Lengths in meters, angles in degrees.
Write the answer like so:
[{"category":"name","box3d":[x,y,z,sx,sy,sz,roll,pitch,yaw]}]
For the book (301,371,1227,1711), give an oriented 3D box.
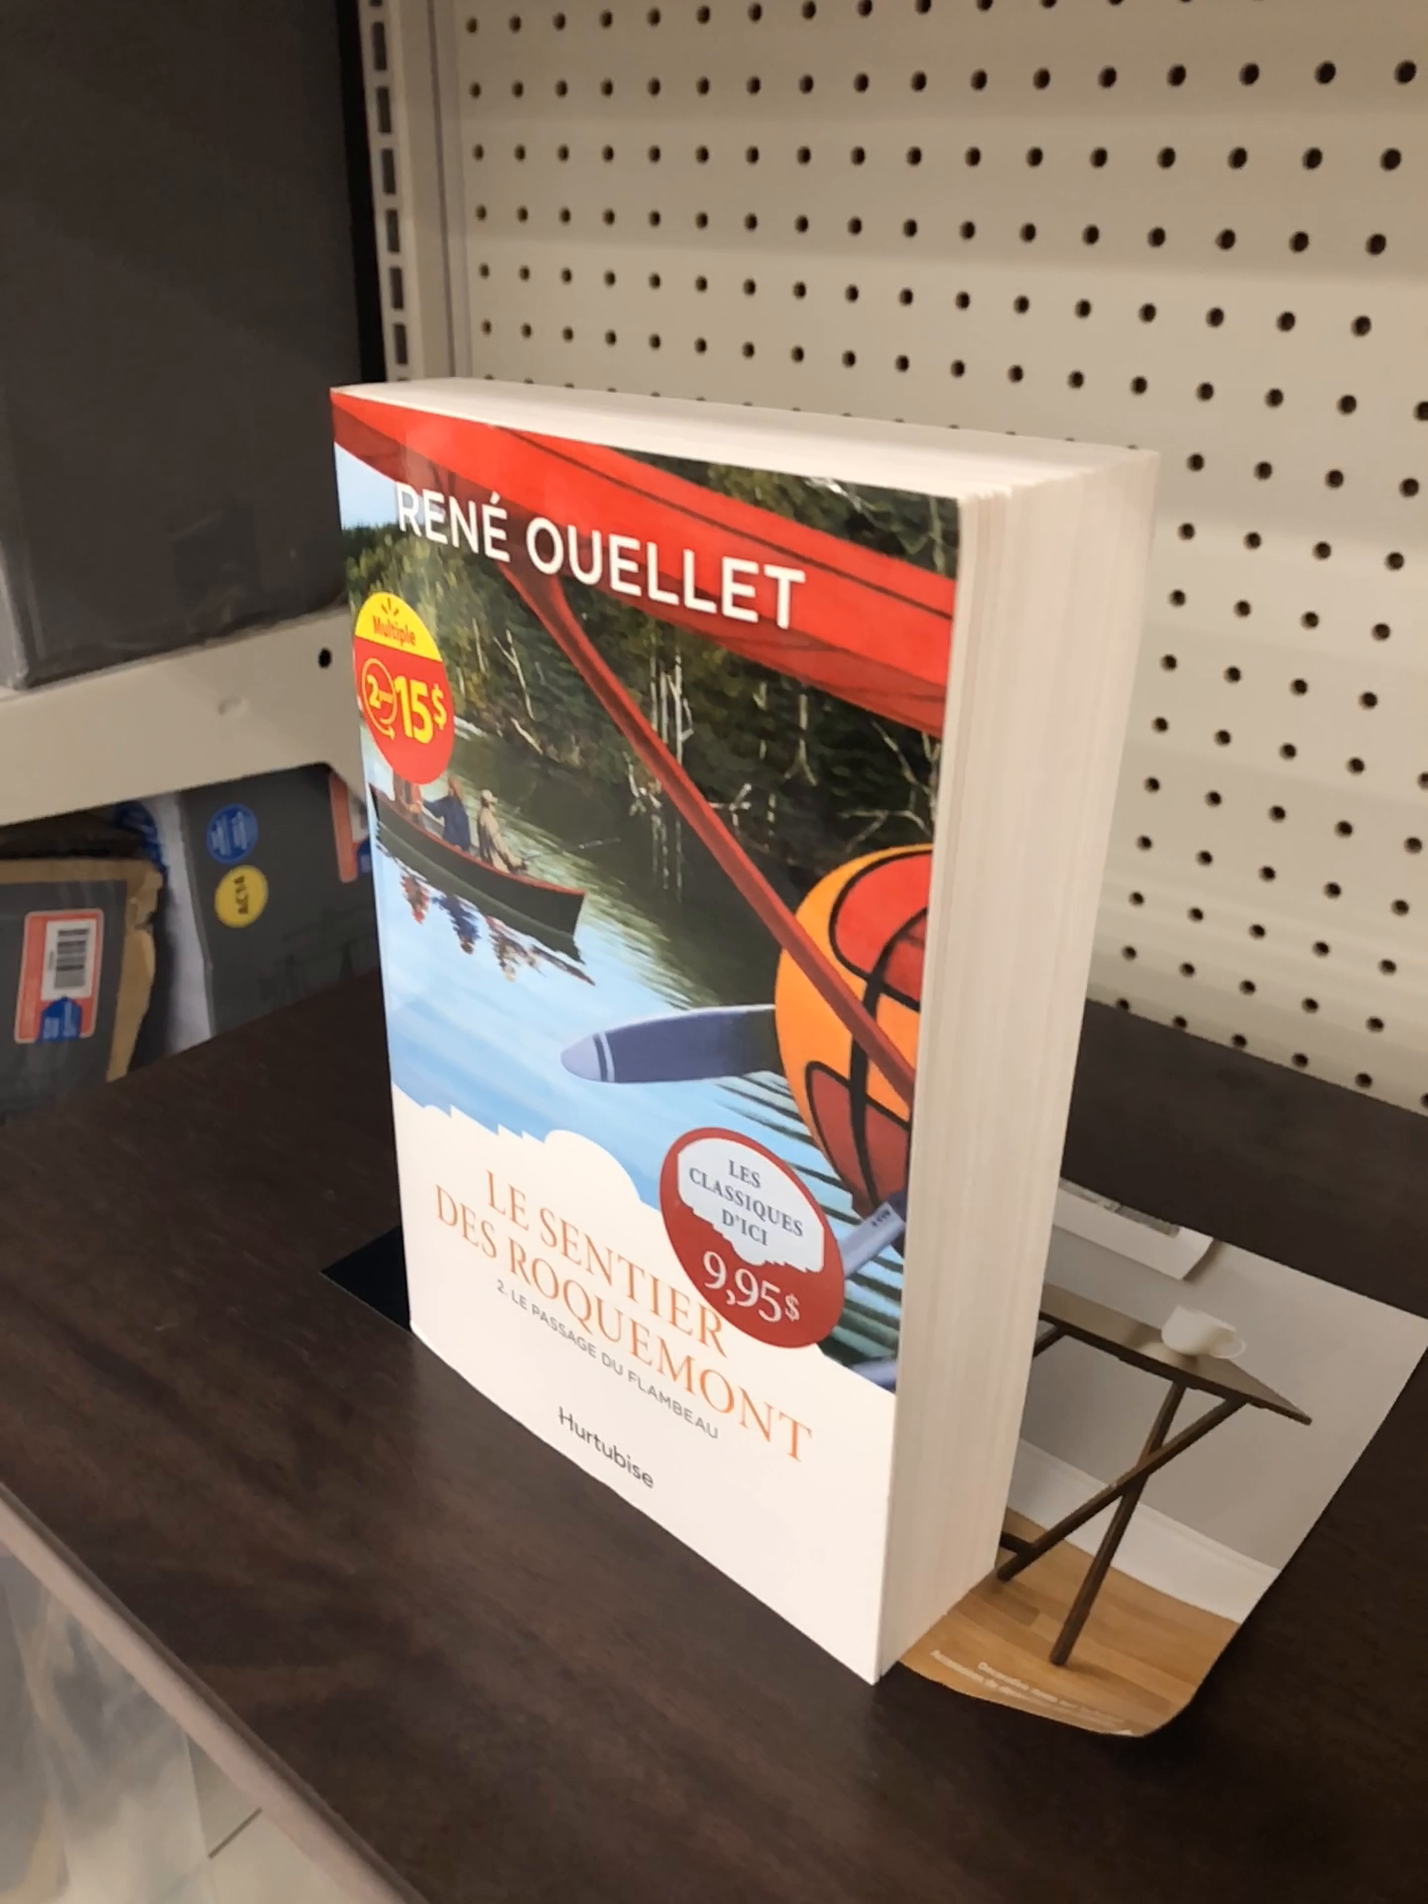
[{"category":"book","box3d":[-0.002,0.008,0.313,0.153,0.215,0.065,23,32,38]}]
